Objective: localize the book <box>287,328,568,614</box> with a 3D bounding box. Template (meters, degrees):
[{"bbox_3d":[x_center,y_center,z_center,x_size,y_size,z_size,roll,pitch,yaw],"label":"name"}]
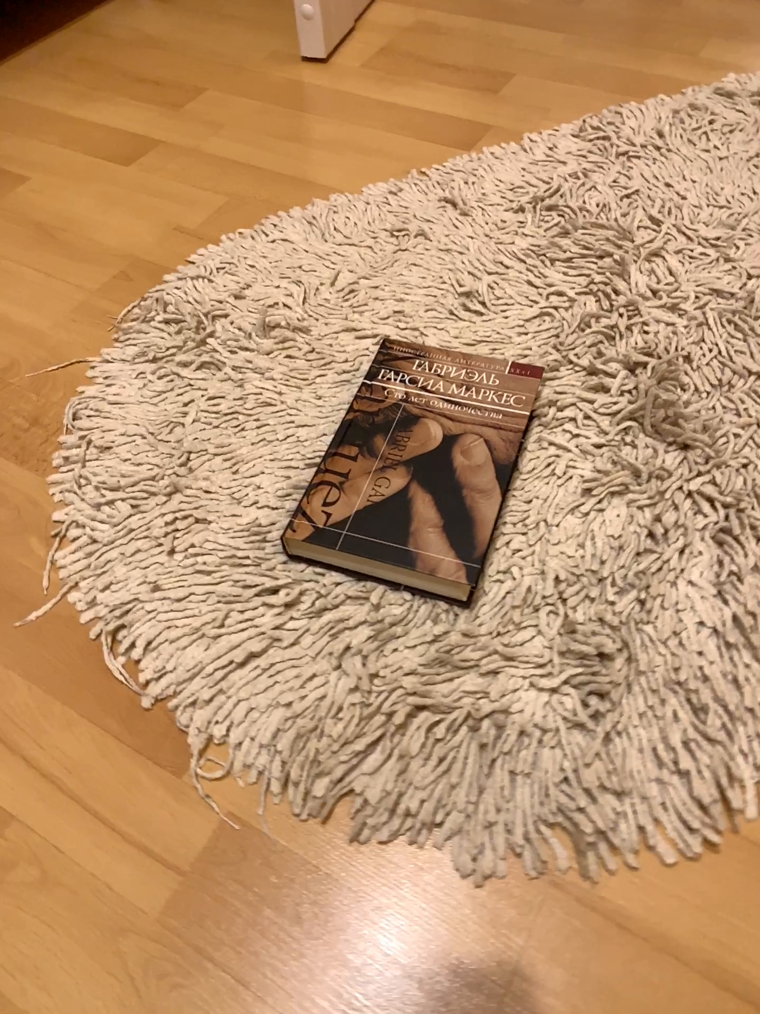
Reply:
[{"bbox_3d":[0.042,-0.038,0.555,0.140,0.030,0.211,14,55,15],"label":"book"}]
